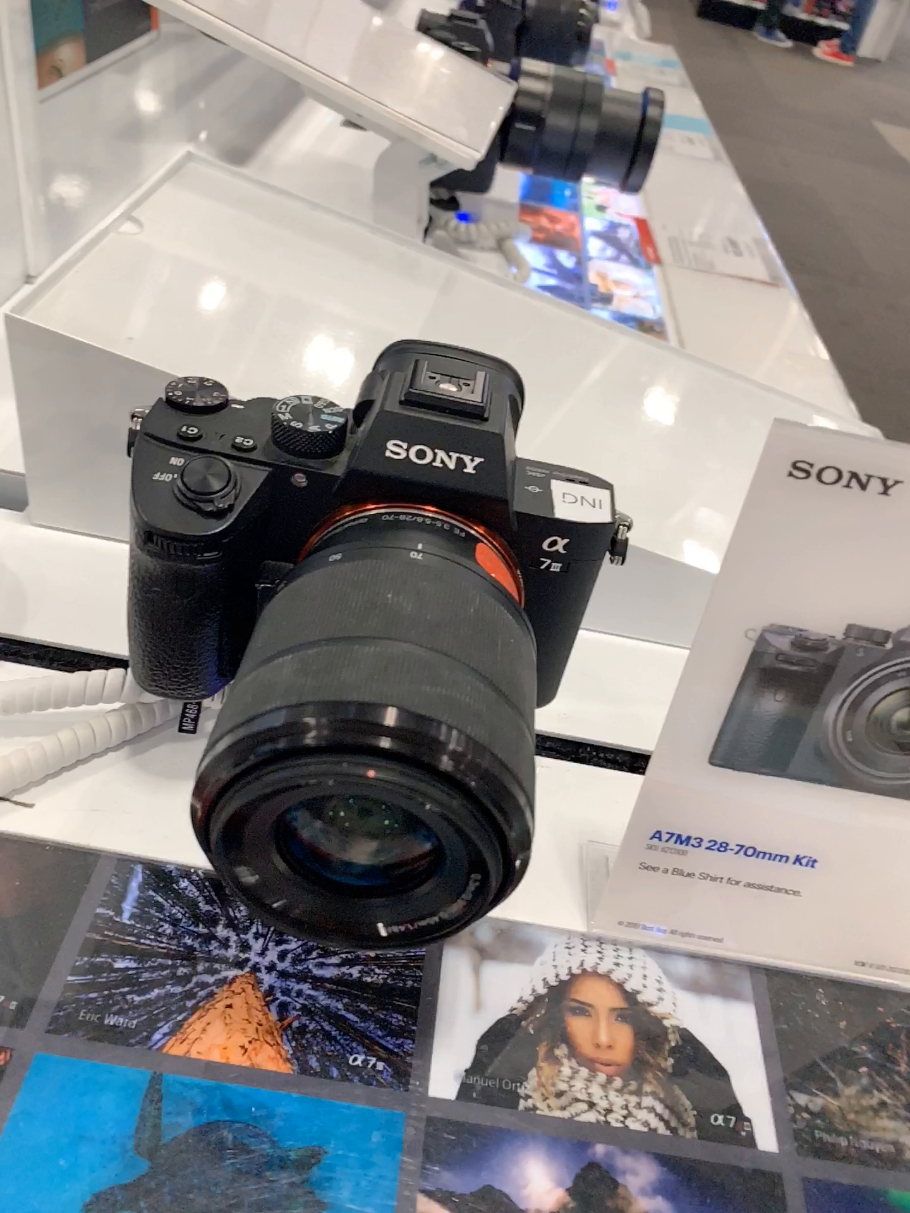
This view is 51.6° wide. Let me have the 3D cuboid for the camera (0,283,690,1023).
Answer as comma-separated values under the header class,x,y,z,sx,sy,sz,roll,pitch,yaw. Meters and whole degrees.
class,x,y,z,sx,sy,sz,roll,pitch,yaw
camera,-0.026,0.006,0.236,0.119,0.099,0.141,9,41,-5
